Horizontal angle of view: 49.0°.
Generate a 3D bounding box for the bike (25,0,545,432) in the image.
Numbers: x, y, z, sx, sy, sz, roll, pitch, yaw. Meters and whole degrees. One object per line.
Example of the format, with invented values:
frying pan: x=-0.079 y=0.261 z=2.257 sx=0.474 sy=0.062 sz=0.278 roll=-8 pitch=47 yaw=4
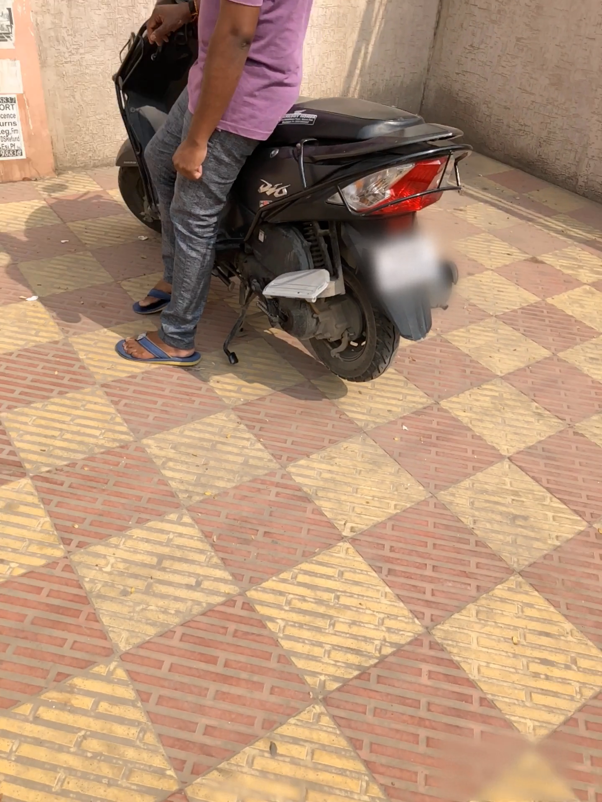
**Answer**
bike: x=-0.196 y=-0.759 z=2.117 sx=0.576 sy=0.987 sz=1.508 roll=-25 pitch=46 yaw=-33
